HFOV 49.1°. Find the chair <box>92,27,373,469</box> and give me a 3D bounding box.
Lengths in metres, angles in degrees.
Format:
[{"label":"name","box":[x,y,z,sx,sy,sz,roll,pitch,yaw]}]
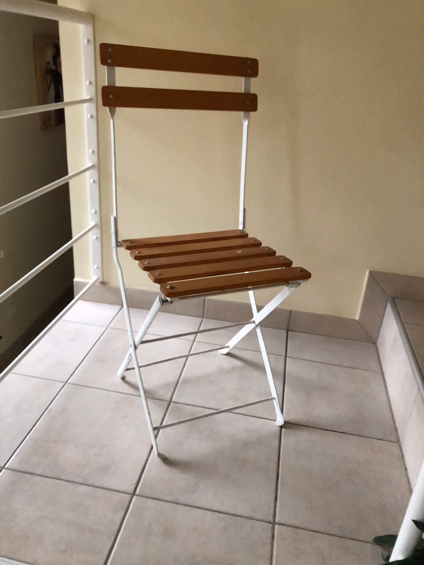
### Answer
[{"label":"chair","box":[-0.006,-0.093,1.141,0.441,0.875,0.431,-8,25,-24]}]
